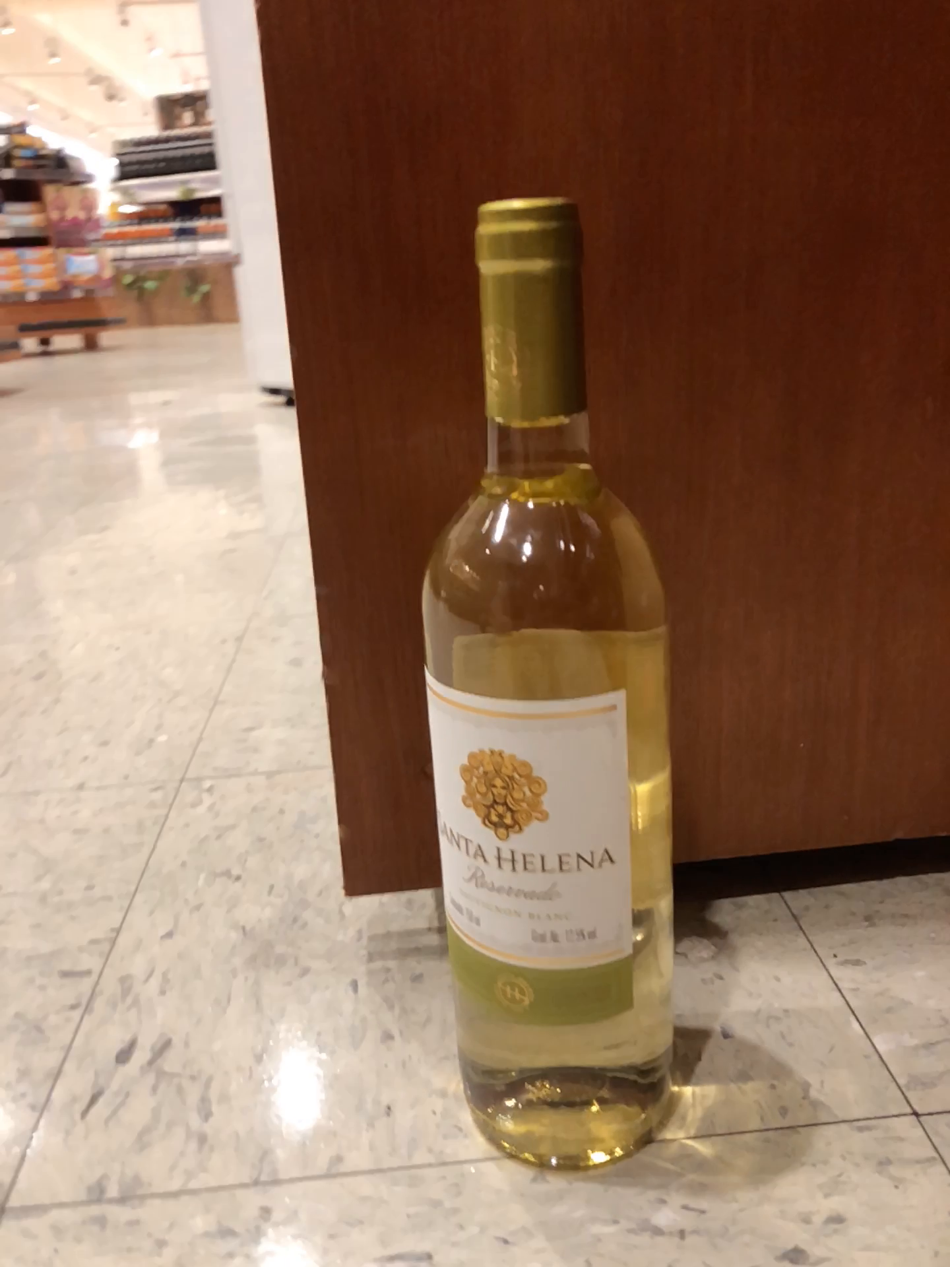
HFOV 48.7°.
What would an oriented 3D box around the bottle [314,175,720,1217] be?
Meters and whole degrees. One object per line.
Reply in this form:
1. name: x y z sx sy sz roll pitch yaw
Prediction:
1. bottle: 0.022 0.022 0.309 0.080 0.278 0.070 7 21 29
